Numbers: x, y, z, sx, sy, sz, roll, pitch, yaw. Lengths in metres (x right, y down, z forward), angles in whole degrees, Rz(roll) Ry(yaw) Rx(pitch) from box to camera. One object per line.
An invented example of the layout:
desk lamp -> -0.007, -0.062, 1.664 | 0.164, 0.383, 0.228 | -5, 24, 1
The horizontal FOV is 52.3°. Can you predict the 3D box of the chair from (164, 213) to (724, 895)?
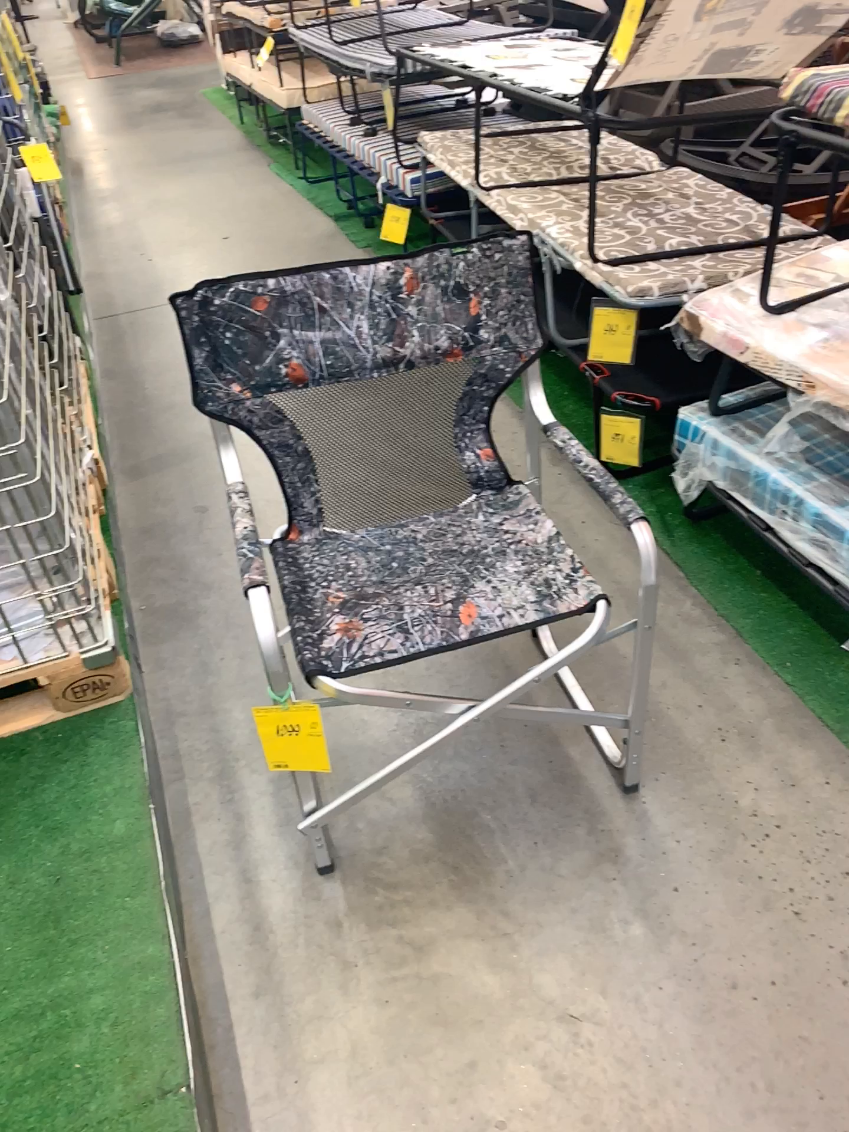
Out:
chair -> 0.002, -0.033, 1.464 | 0.650, 0.836, 0.613 | -13, 38, -8
